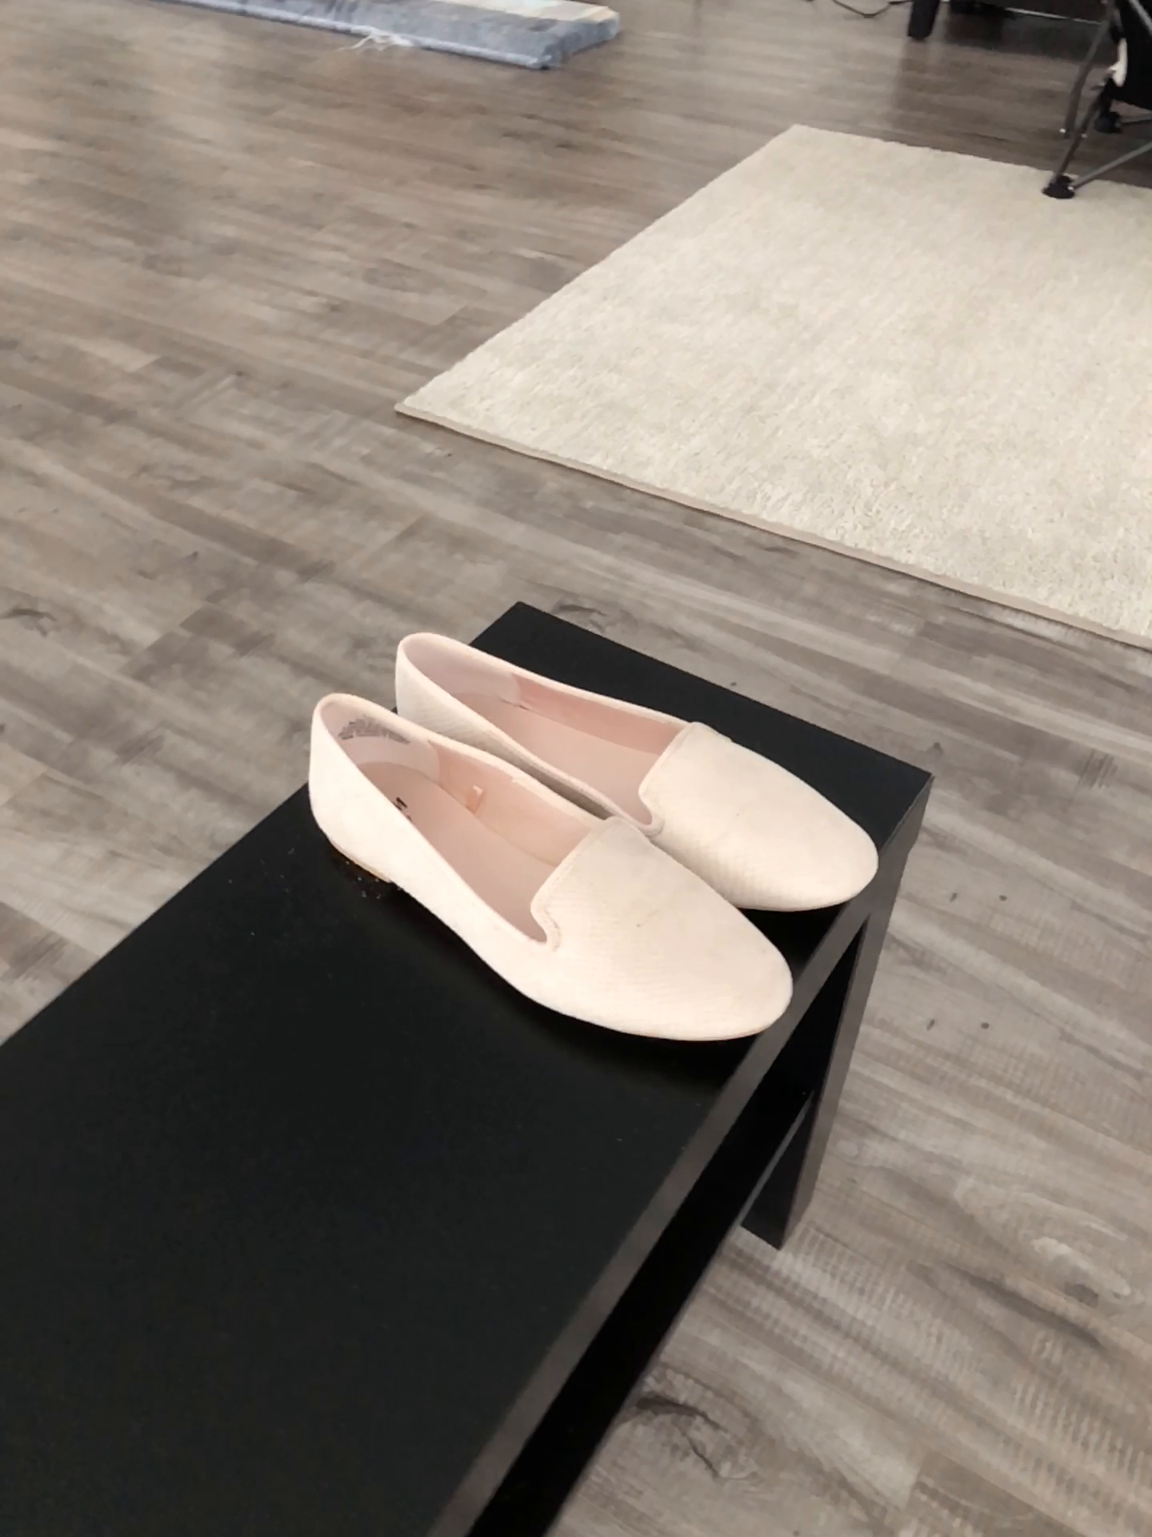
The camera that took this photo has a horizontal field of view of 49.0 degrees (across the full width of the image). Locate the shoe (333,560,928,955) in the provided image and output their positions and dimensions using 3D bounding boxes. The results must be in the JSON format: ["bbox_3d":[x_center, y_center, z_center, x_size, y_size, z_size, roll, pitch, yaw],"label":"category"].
[{"bbox_3d":[0.020,-0.012,0.592,0.259,0.070,0.080,21,48,21],"label":"shoe"}]

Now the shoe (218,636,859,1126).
[{"bbox_3d":[-0.022,0.038,0.545,0.260,0.070,0.090,25,49,24],"label":"shoe"}]
